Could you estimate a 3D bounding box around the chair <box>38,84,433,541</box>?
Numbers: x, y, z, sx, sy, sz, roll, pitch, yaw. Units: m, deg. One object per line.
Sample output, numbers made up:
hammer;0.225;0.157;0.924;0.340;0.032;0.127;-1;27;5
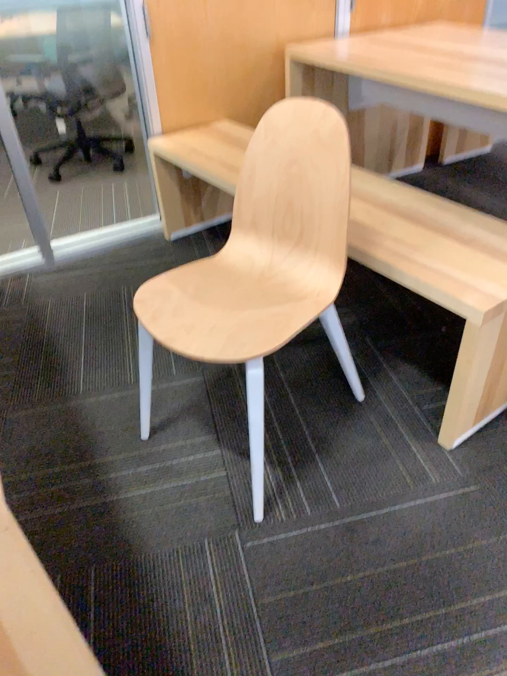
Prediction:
chair;-0.004;-0.095;1.306;0.543;0.834;0.601;26;46;33
